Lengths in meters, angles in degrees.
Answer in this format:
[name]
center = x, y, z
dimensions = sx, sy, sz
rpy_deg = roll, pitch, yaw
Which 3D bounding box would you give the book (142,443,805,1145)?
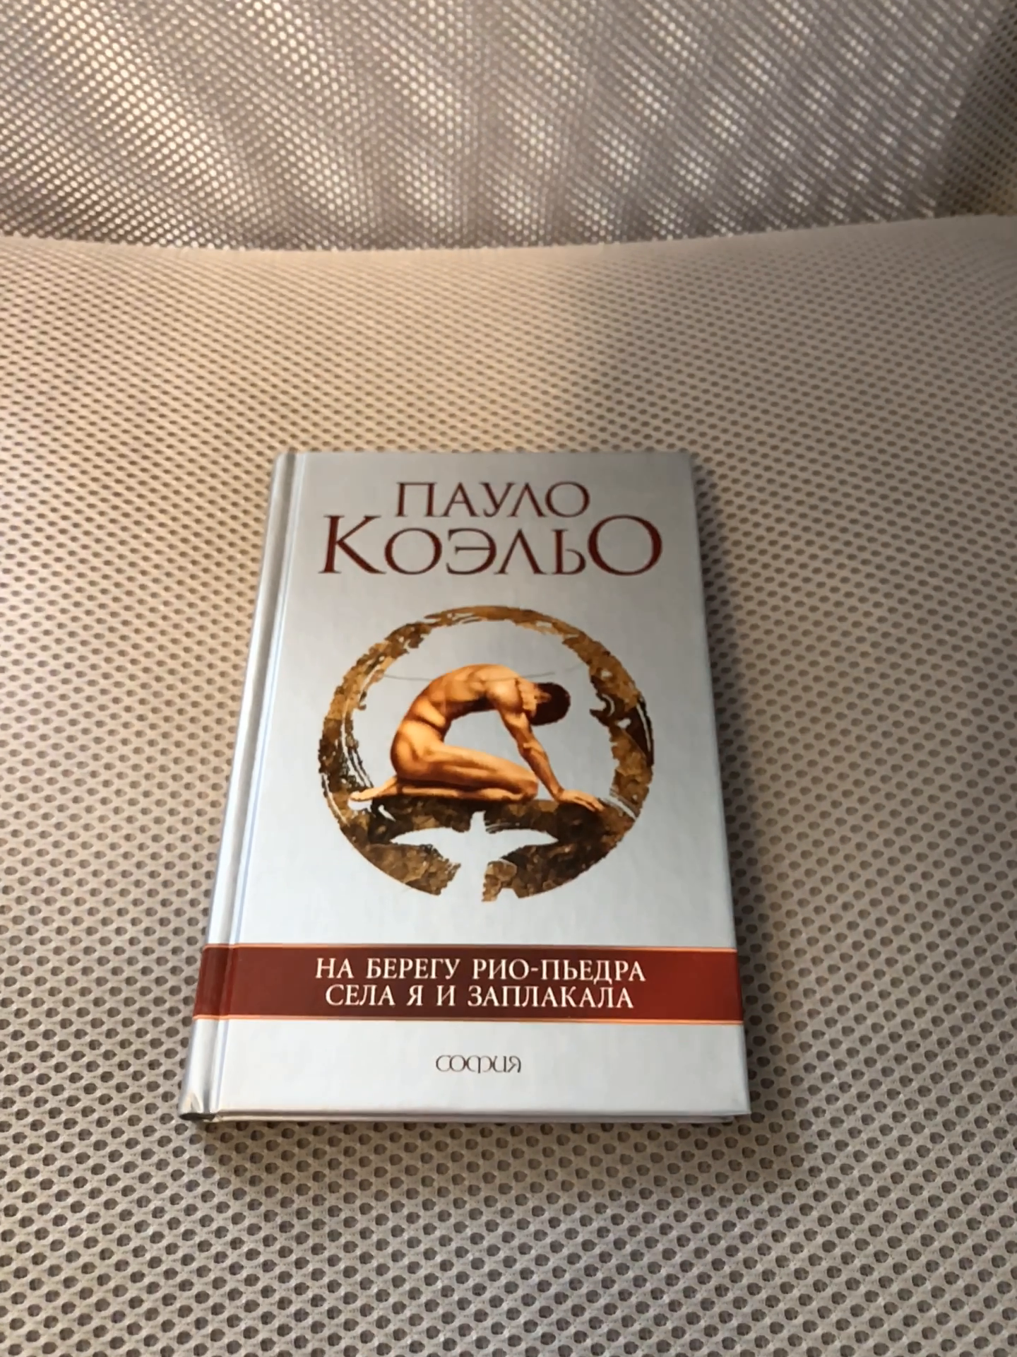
[book]
center = -0.006, 0.018, 0.274
dimensions = 0.131, 0.020, 0.174
rpy_deg = 1, 61, 0
